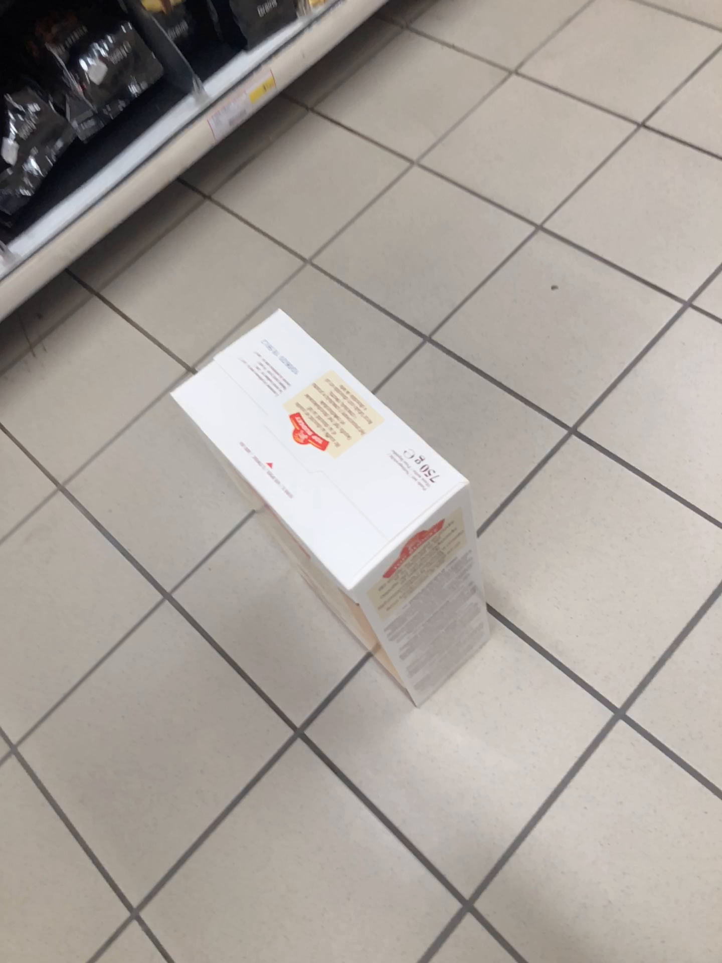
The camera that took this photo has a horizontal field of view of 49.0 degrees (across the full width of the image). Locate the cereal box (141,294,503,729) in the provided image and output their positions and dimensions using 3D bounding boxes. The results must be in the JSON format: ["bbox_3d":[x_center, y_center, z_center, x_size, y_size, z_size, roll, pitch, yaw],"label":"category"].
[{"bbox_3d":[-0.007,0.046,0.621,0.110,0.319,0.210,-40,62,-10],"label":"cereal box"}]
